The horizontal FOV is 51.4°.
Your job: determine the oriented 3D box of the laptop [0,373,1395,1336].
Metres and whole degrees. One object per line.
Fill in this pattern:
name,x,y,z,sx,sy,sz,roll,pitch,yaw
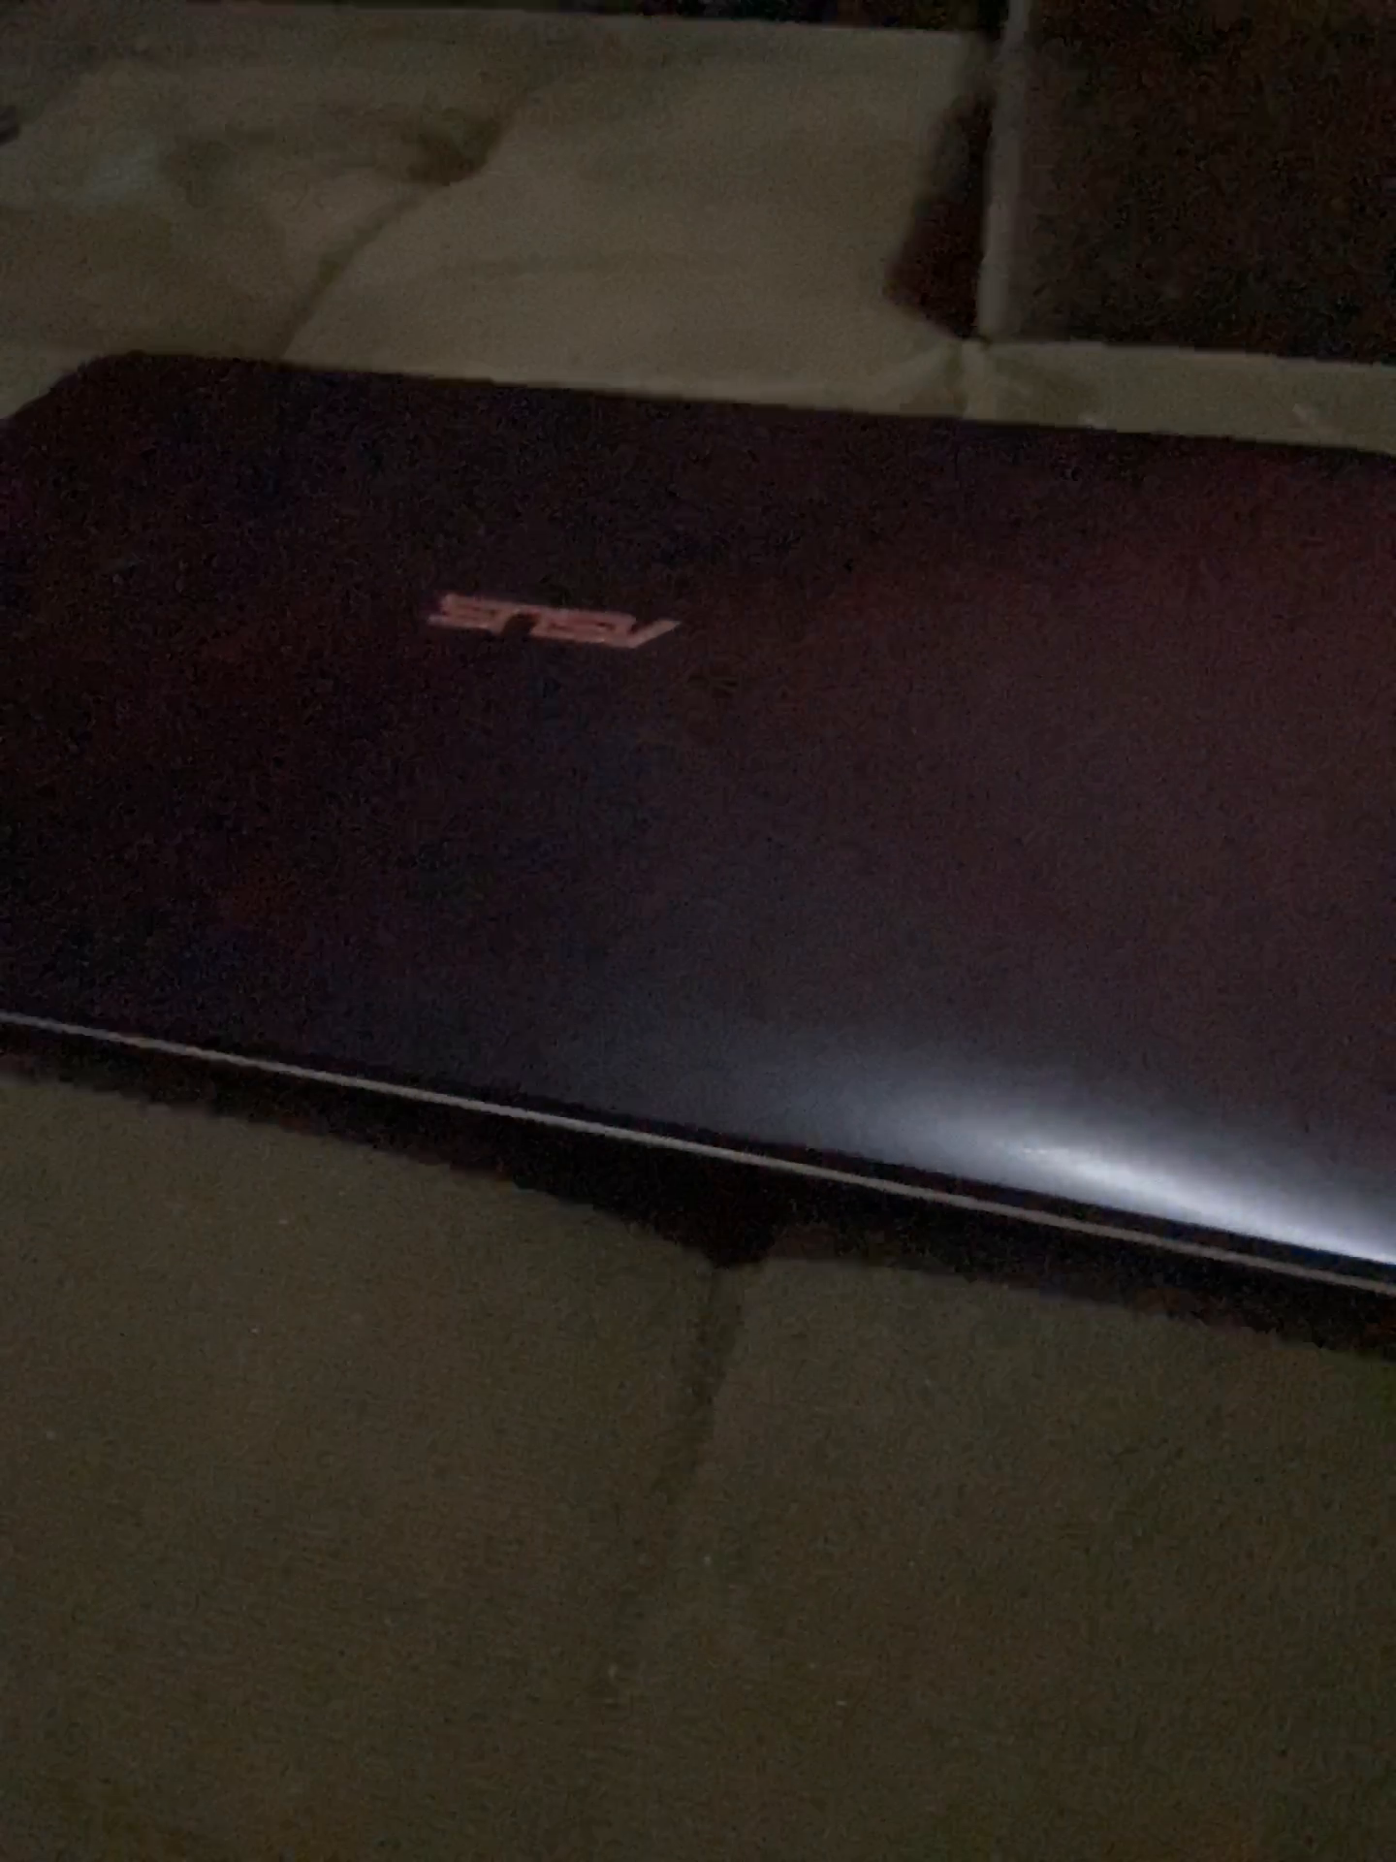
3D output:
laptop,-0.041,-0.057,0.314,0.369,0.004,0.236,10,44,13
